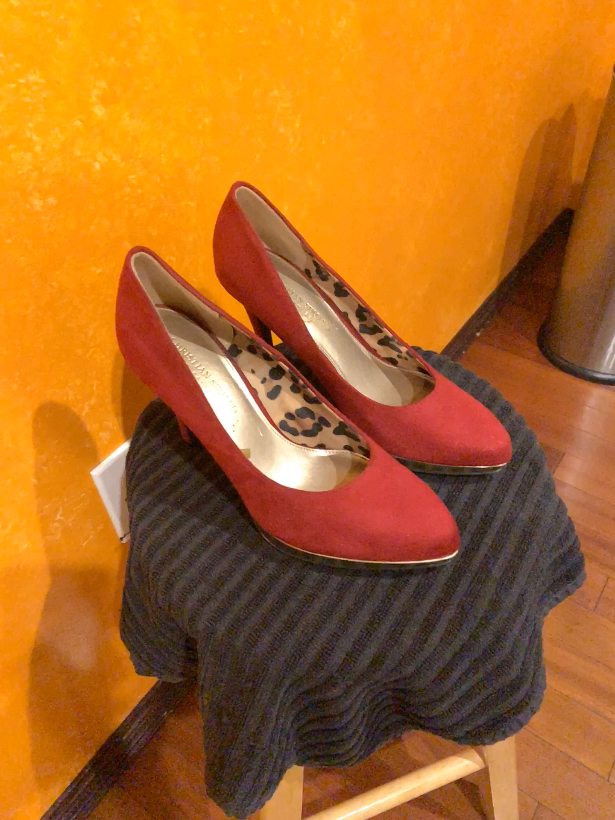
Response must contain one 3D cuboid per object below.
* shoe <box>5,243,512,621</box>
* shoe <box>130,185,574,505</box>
[{"bbox_3d":[-0.039,-0.006,0.396,0.291,0.119,0.100,19,44,29],"label":"shoe"},{"bbox_3d":[0.020,-0.059,0.434,0.271,0.128,0.093,20,45,30],"label":"shoe"}]
